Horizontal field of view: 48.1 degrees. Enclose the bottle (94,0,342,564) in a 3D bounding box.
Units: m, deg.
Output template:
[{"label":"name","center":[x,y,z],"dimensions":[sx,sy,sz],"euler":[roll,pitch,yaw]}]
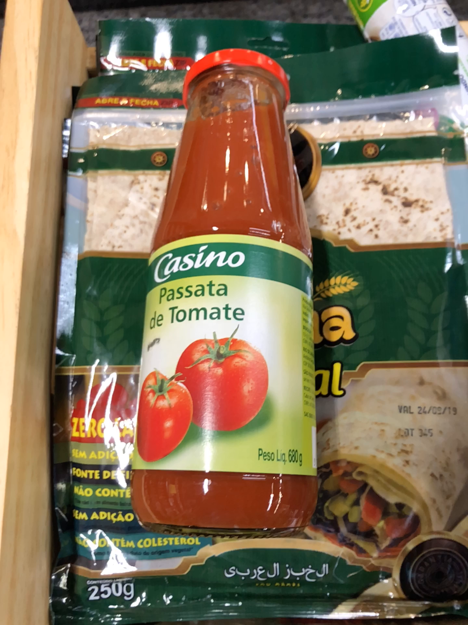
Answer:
[{"label":"bottle","center":[0.001,-0.019,0.245],"dimensions":[0.070,0.080,0.230],"euler":[-7,72,29]}]
